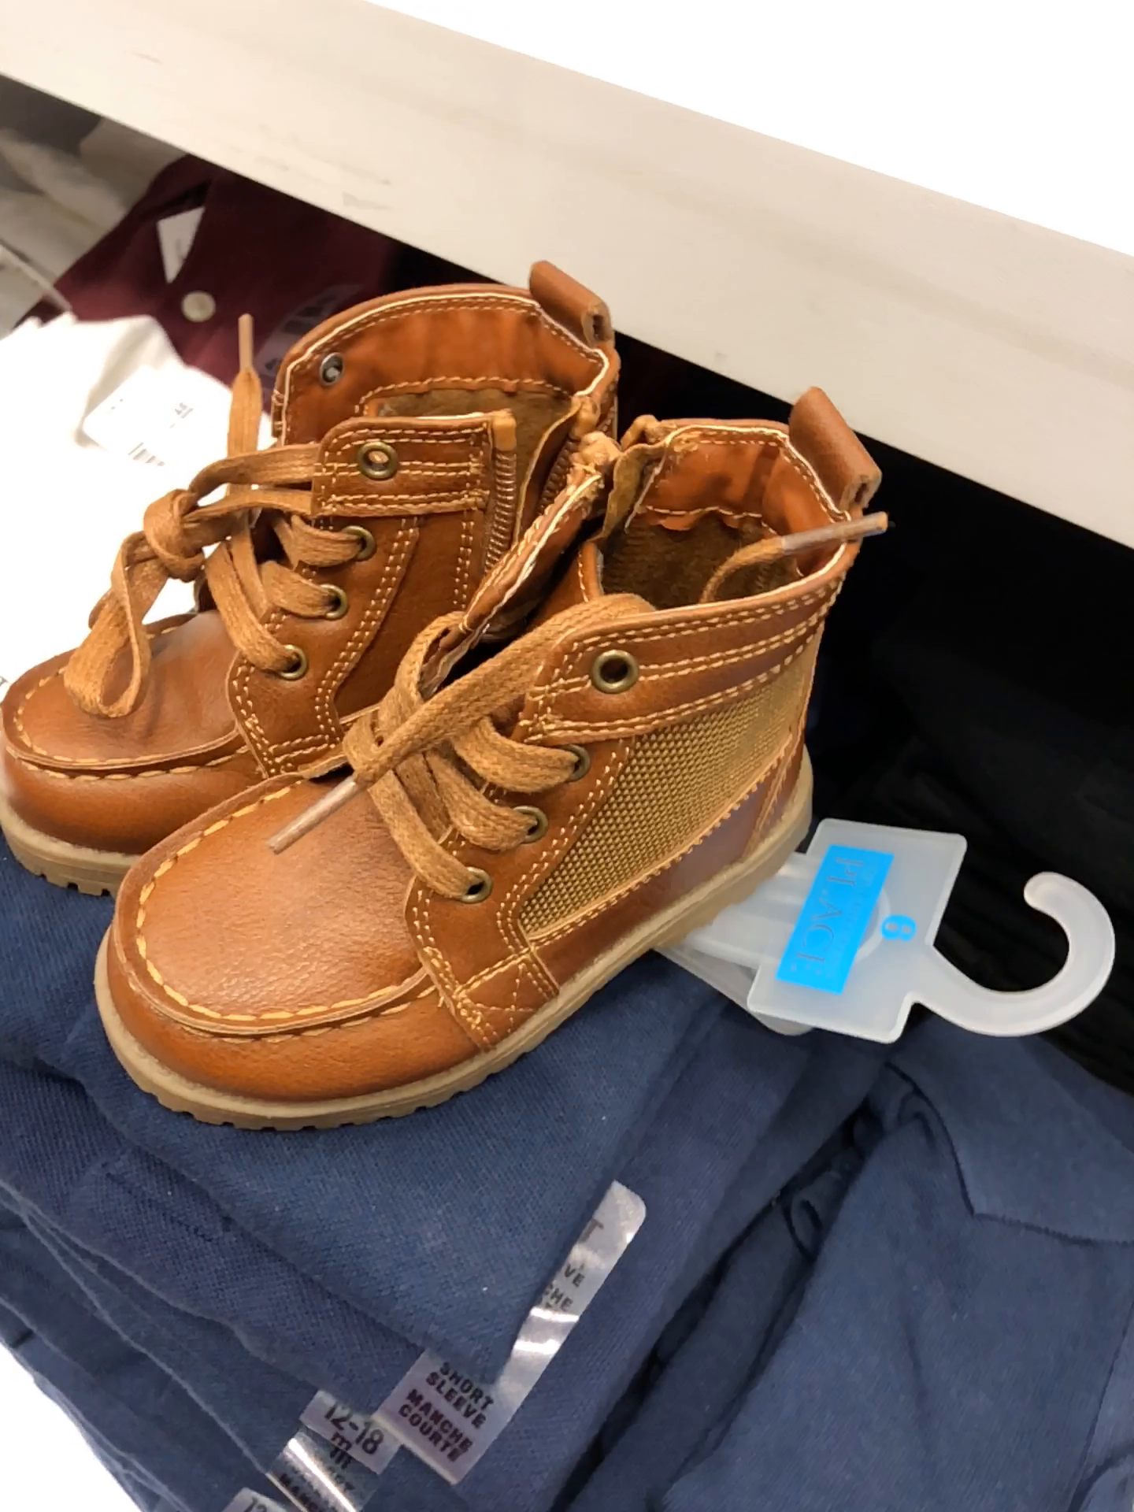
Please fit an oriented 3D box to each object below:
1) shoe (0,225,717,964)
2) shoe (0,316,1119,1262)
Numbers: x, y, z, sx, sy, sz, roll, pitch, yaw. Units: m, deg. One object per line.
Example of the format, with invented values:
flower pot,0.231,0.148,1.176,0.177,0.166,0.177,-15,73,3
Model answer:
shoe,-0.059,-0.038,0.268,0.151,0.101,0.080,-13,46,-16
shoe,-0.008,0.003,0.230,0.161,0.101,0.080,-20,58,-21
